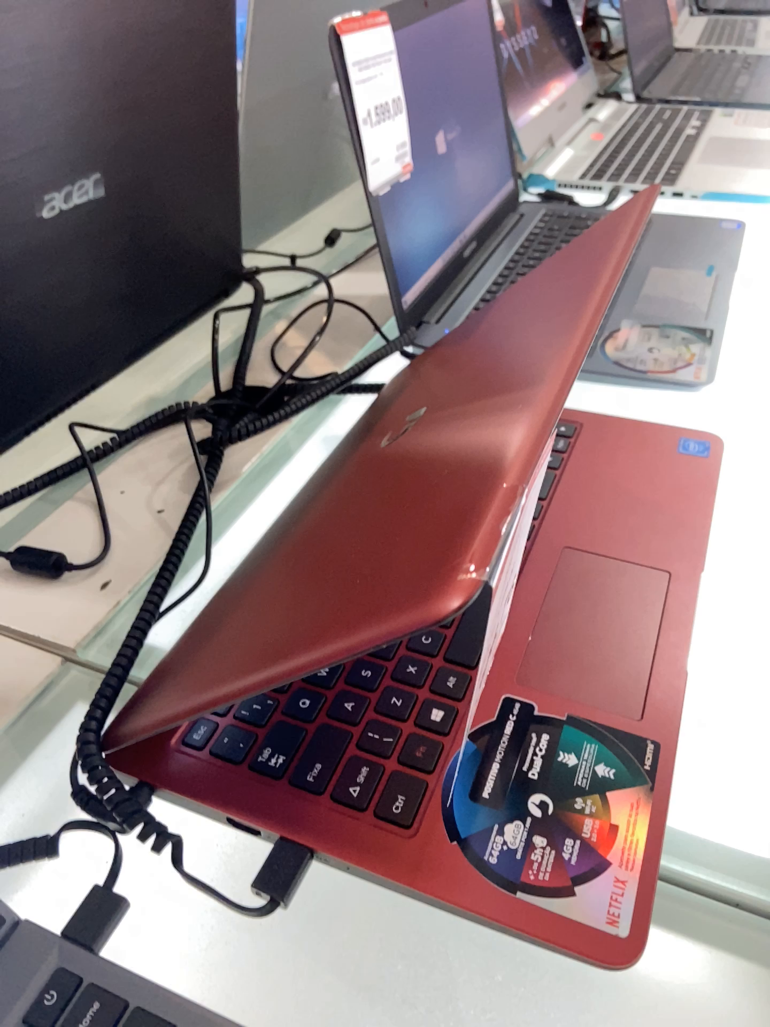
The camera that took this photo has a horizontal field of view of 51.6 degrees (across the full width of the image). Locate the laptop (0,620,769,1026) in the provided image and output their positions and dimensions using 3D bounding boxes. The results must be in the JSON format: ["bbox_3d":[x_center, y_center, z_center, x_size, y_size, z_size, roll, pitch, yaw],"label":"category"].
[{"bbox_3d":[-0.103,0.134,0.082,0.285,0.159,0.235,7,28,10],"label":"laptop"}]

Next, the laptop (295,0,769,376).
[{"bbox_3d":[0.163,-0.301,0.657,0.276,0.207,0.386,12,38,16],"label":"laptop"}]

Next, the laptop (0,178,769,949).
[{"bbox_3d":[0.046,-0.028,0.364,0.212,0.144,0.322,12,41,20],"label":"laptop"}]
